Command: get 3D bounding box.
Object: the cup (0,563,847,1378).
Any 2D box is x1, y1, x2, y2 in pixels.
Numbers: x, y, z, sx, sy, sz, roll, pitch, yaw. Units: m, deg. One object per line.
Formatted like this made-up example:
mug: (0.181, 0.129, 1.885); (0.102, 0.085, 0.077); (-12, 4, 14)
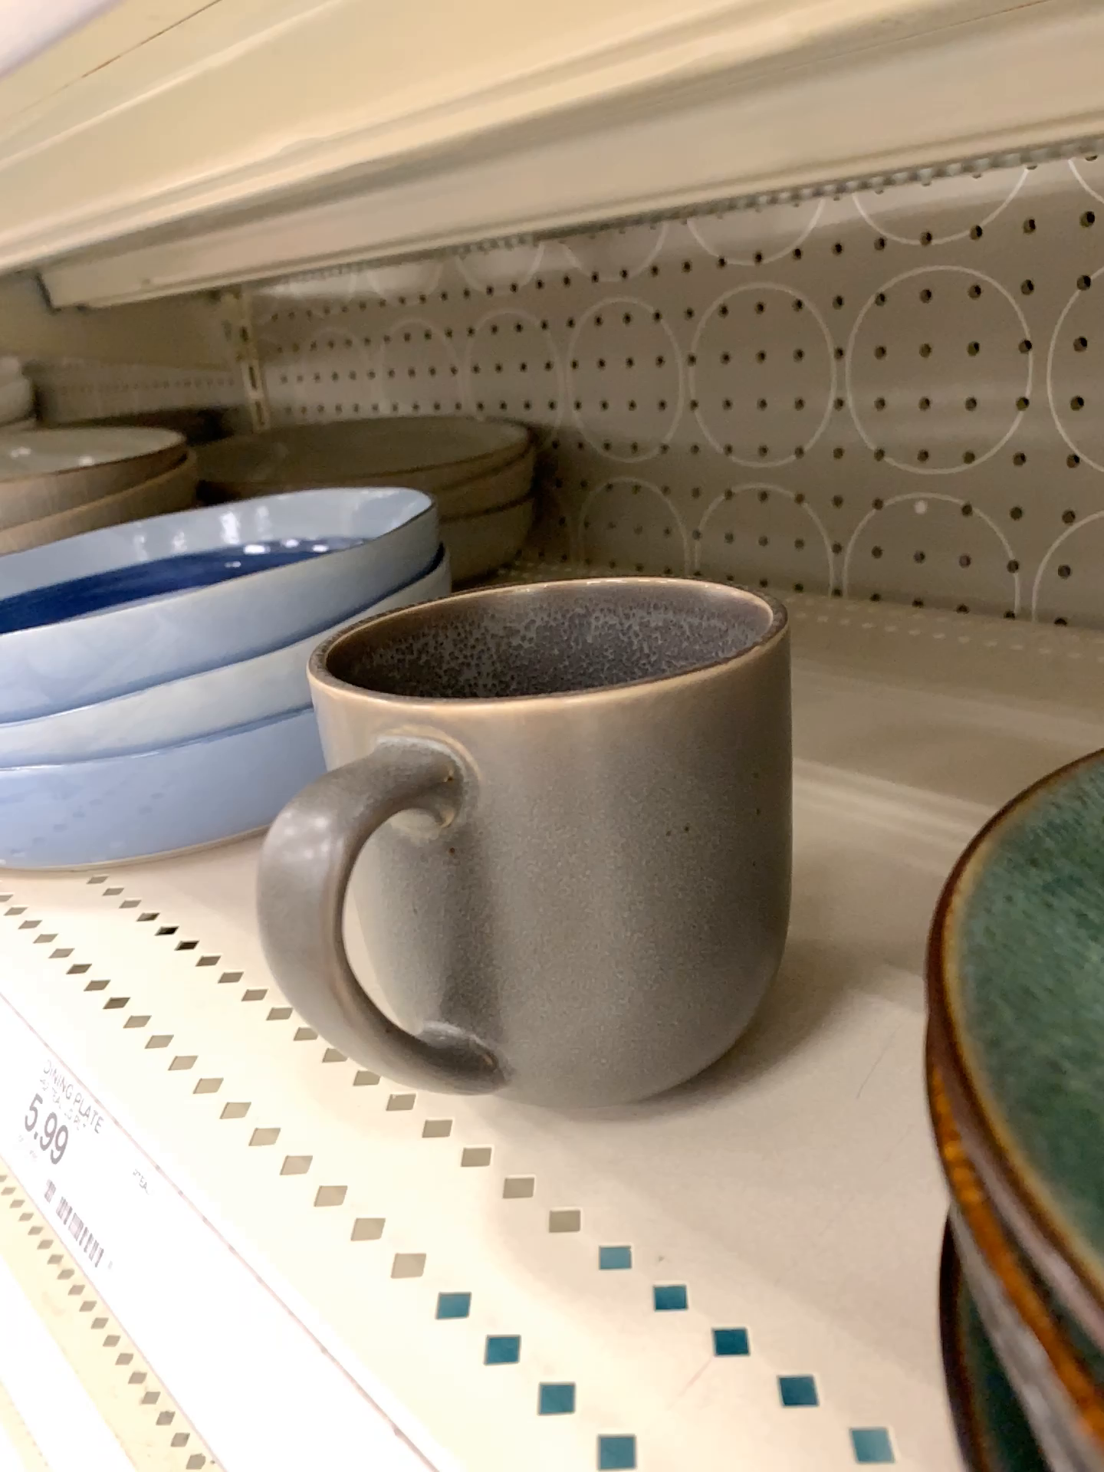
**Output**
cup: (-0.010, 0.022, 0.217); (0.100, 0.080, 0.130); (5, 23, 27)
